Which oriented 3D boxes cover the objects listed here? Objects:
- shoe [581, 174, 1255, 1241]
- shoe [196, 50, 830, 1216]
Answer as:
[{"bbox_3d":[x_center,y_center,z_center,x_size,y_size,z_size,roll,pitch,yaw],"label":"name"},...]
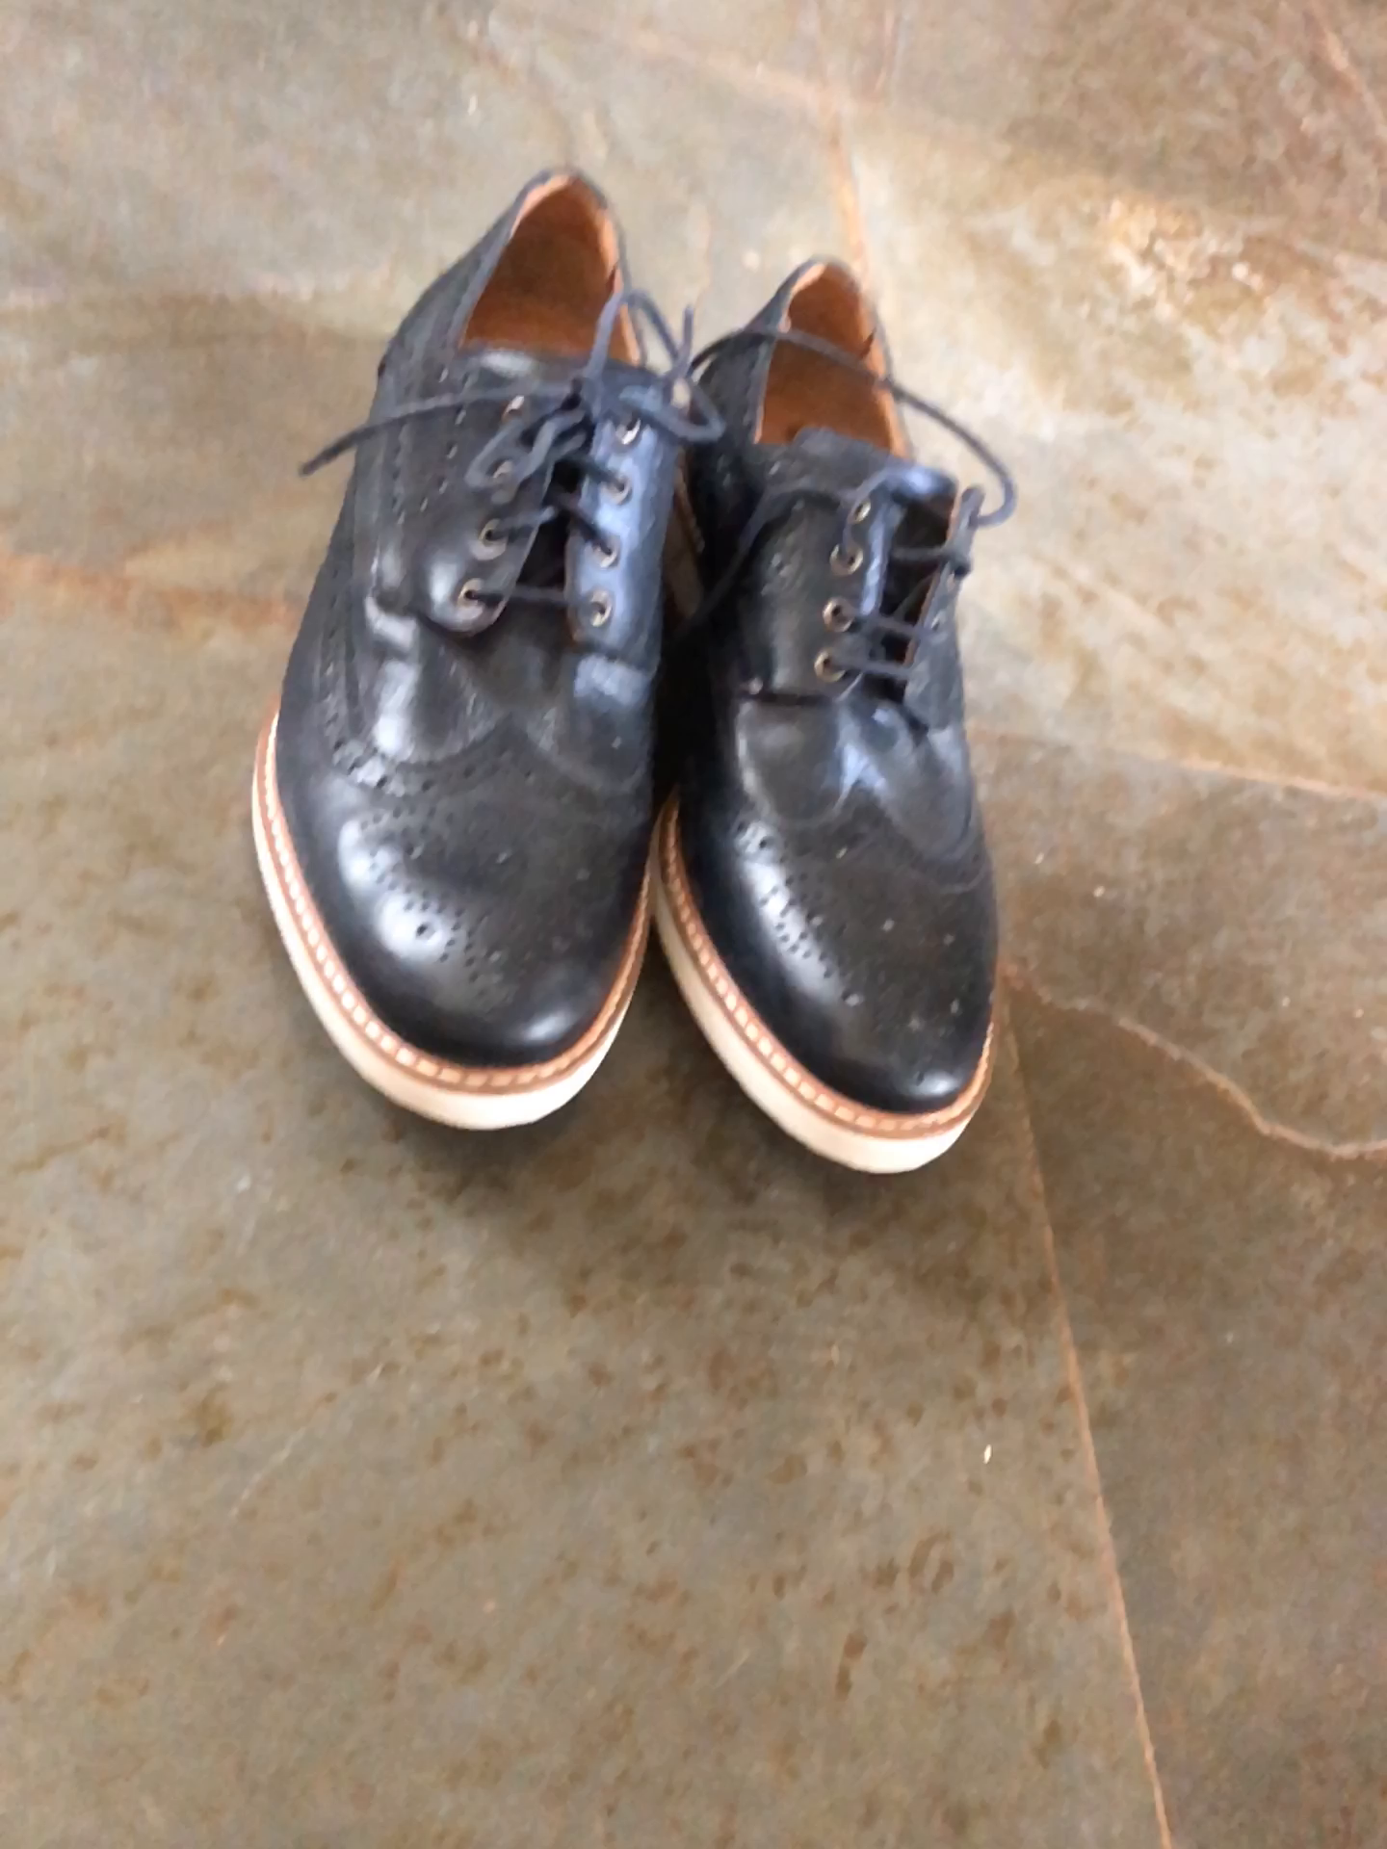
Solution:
[{"bbox_3d":[0.043,-0.071,0.444,0.110,0.099,0.302,6,56,-19],"label":"shoe"},{"bbox_3d":[-0.049,-0.085,0.396,0.110,0.099,0.292,9,55,-17],"label":"shoe"}]
